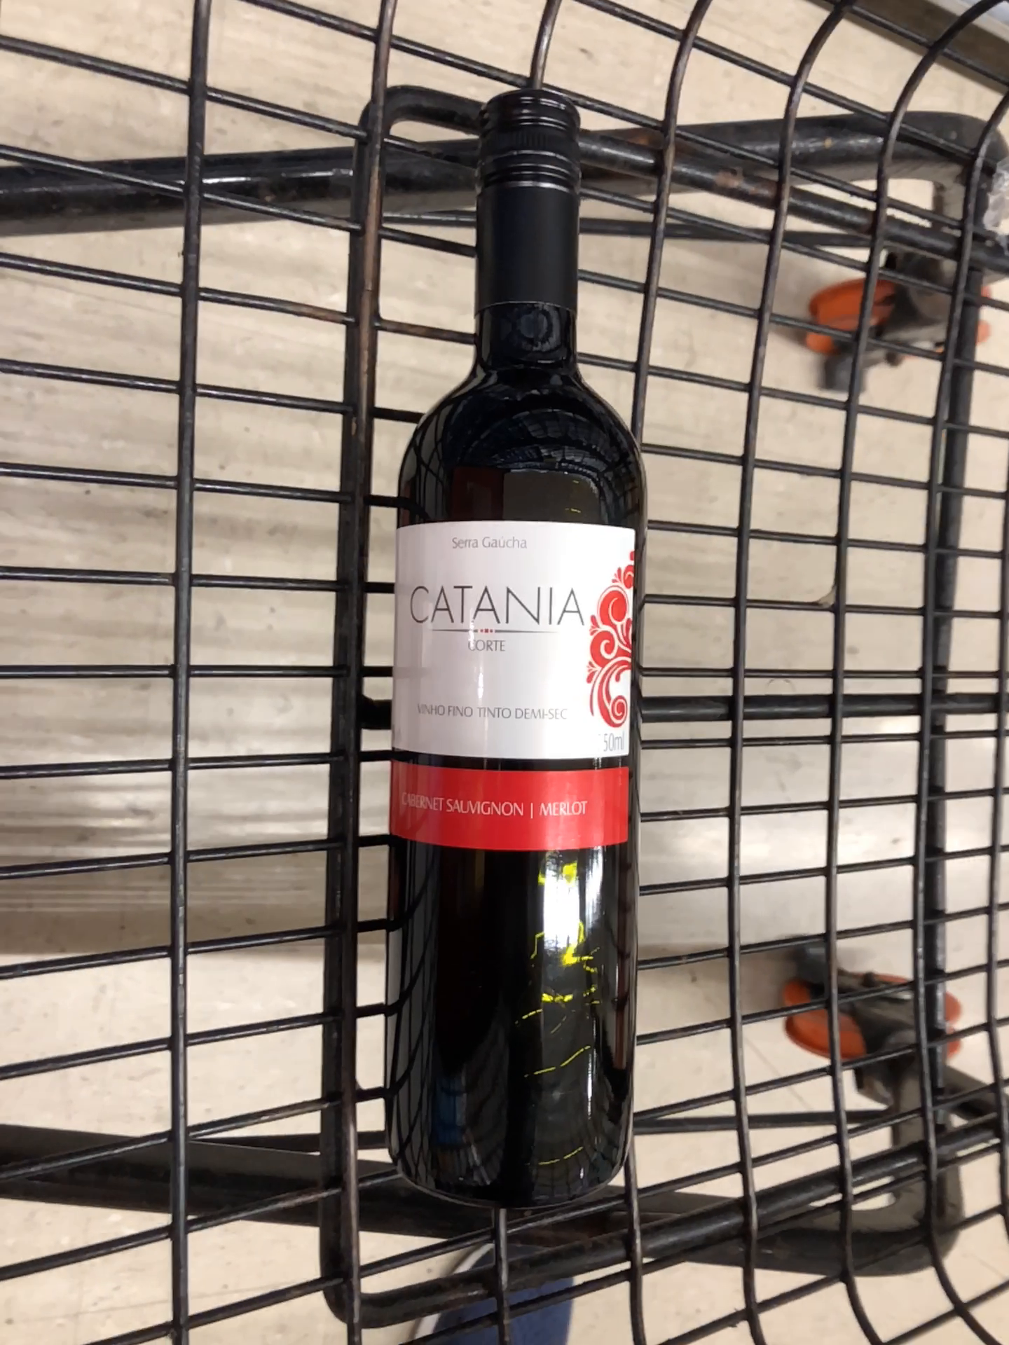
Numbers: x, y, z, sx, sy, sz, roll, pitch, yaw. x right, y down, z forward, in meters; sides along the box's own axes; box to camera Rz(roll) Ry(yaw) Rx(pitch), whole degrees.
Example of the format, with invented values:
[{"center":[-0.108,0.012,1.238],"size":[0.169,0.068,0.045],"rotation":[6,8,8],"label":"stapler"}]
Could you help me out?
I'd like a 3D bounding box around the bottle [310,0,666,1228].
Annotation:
[{"center":[-0.001,-0.017,0.309],"size":[0.080,0.070,0.300],"rotation":[1,92,15],"label":"bottle"}]
